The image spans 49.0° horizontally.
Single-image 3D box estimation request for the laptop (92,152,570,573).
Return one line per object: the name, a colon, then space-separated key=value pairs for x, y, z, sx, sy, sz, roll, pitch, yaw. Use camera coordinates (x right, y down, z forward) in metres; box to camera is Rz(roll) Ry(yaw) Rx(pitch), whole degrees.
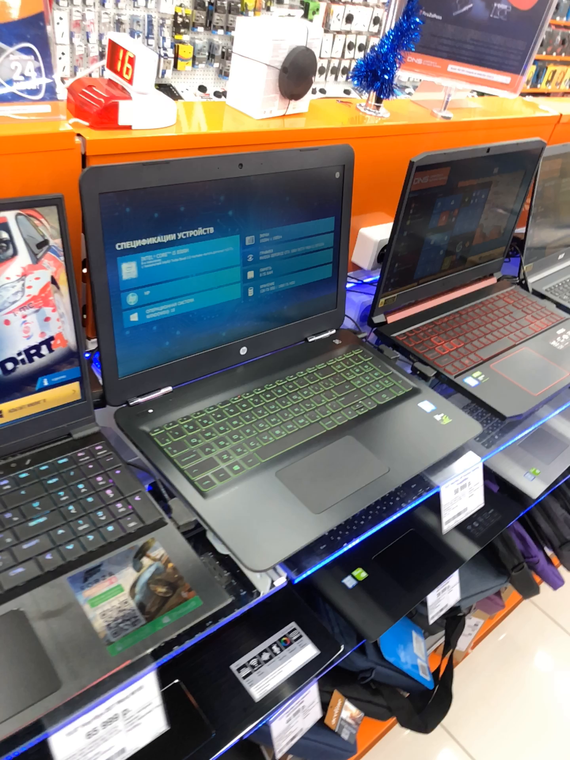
laptop: x=0.037 y=-0.062 z=0.673 sx=0.358 sy=0.235 sz=0.312 roll=-22 pitch=48 yaw=-39
